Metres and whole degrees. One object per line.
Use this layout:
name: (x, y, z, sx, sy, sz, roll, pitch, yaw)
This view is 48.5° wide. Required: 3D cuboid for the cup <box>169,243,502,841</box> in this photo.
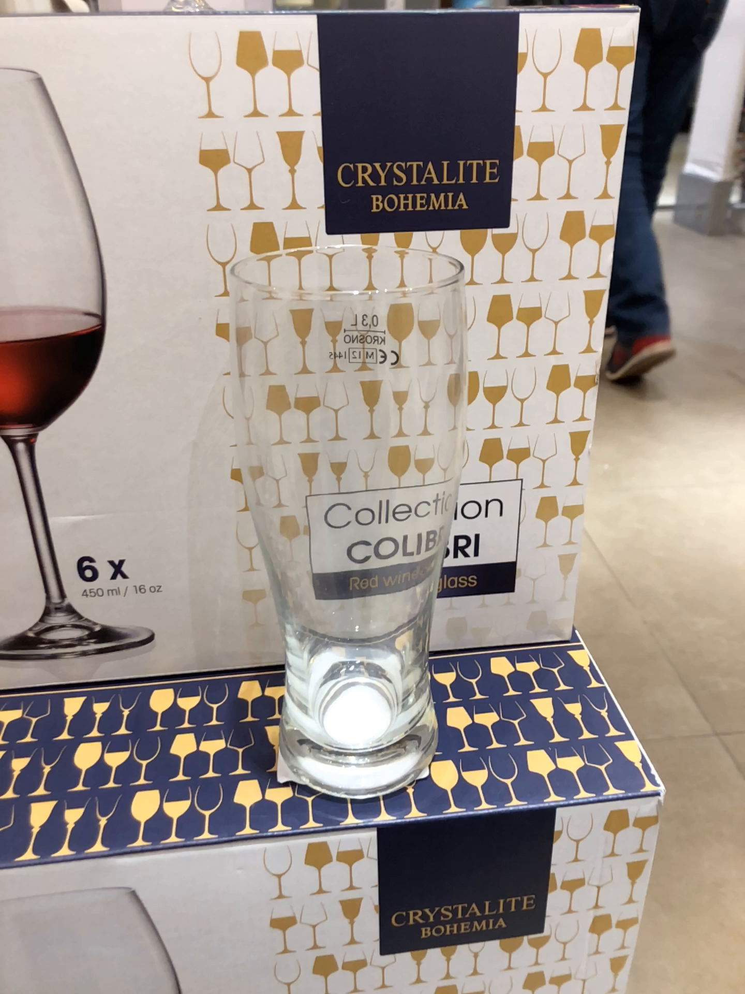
cup: (-0.009, 0.016, 0.275, 0.080, 0.179, 0.081, -1, 27, 0)
